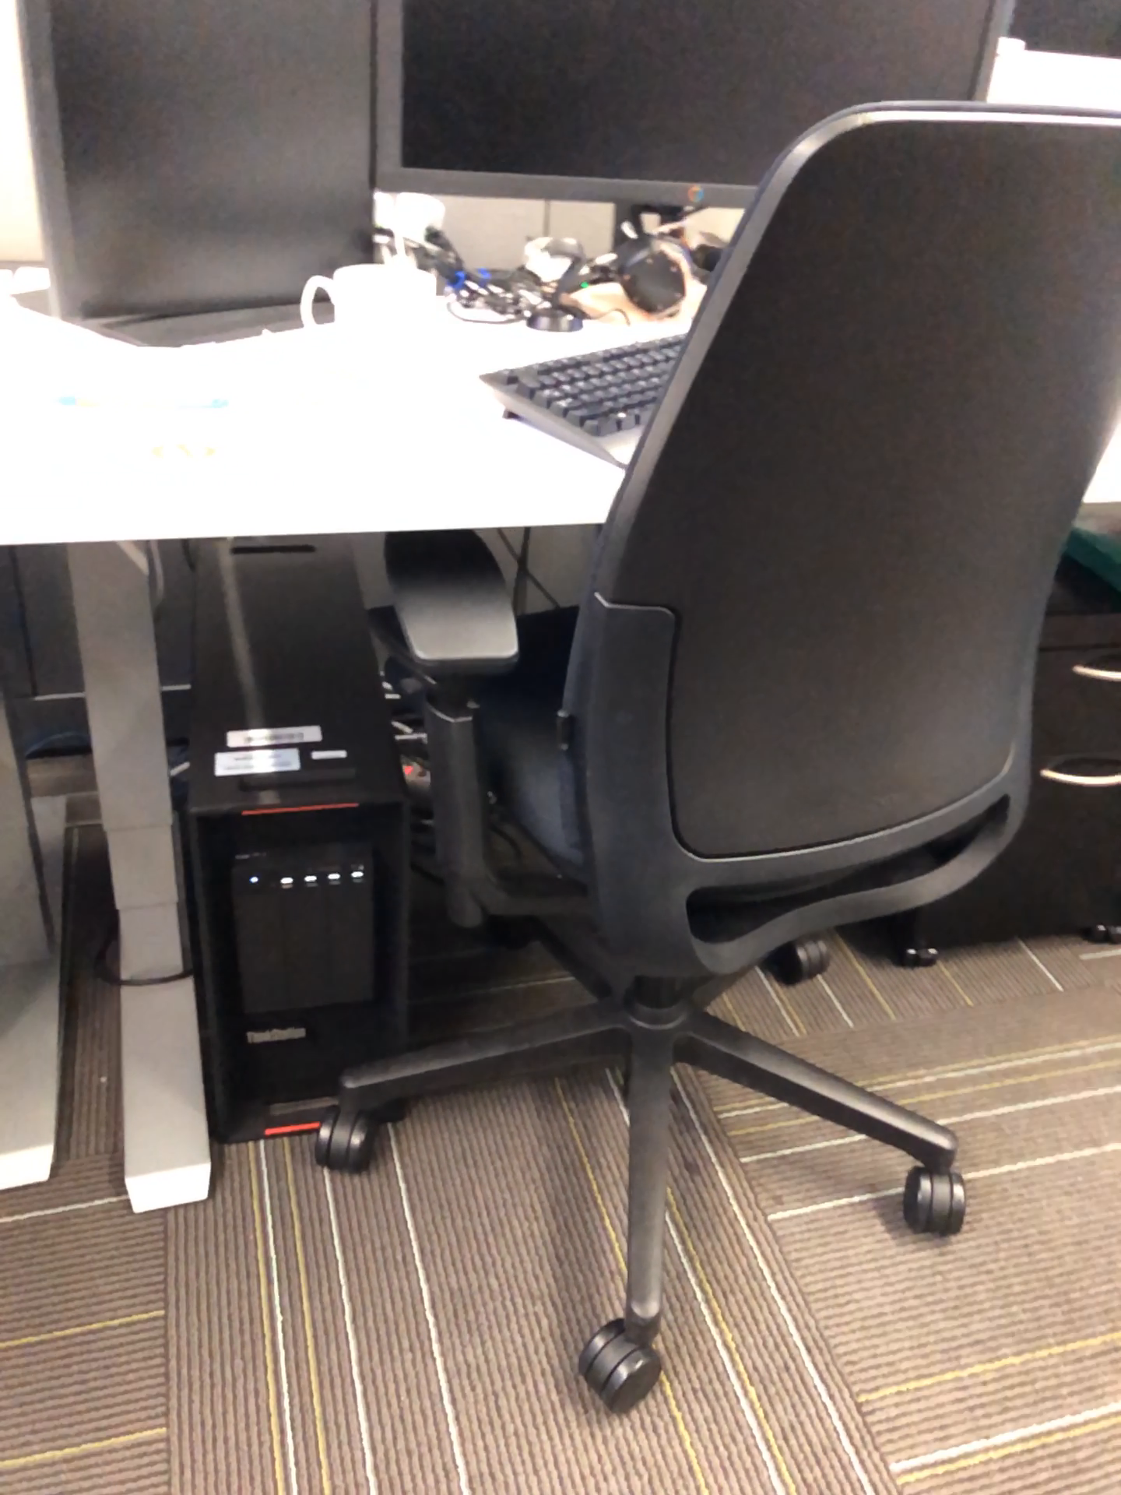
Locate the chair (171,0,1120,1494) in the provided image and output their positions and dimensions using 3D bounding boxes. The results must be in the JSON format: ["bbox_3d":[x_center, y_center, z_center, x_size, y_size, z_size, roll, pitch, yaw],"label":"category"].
[{"bbox_3d":[0.138,-0.011,1.028,0.780,1.014,0.663,-5,33,-16],"label":"chair"}]
